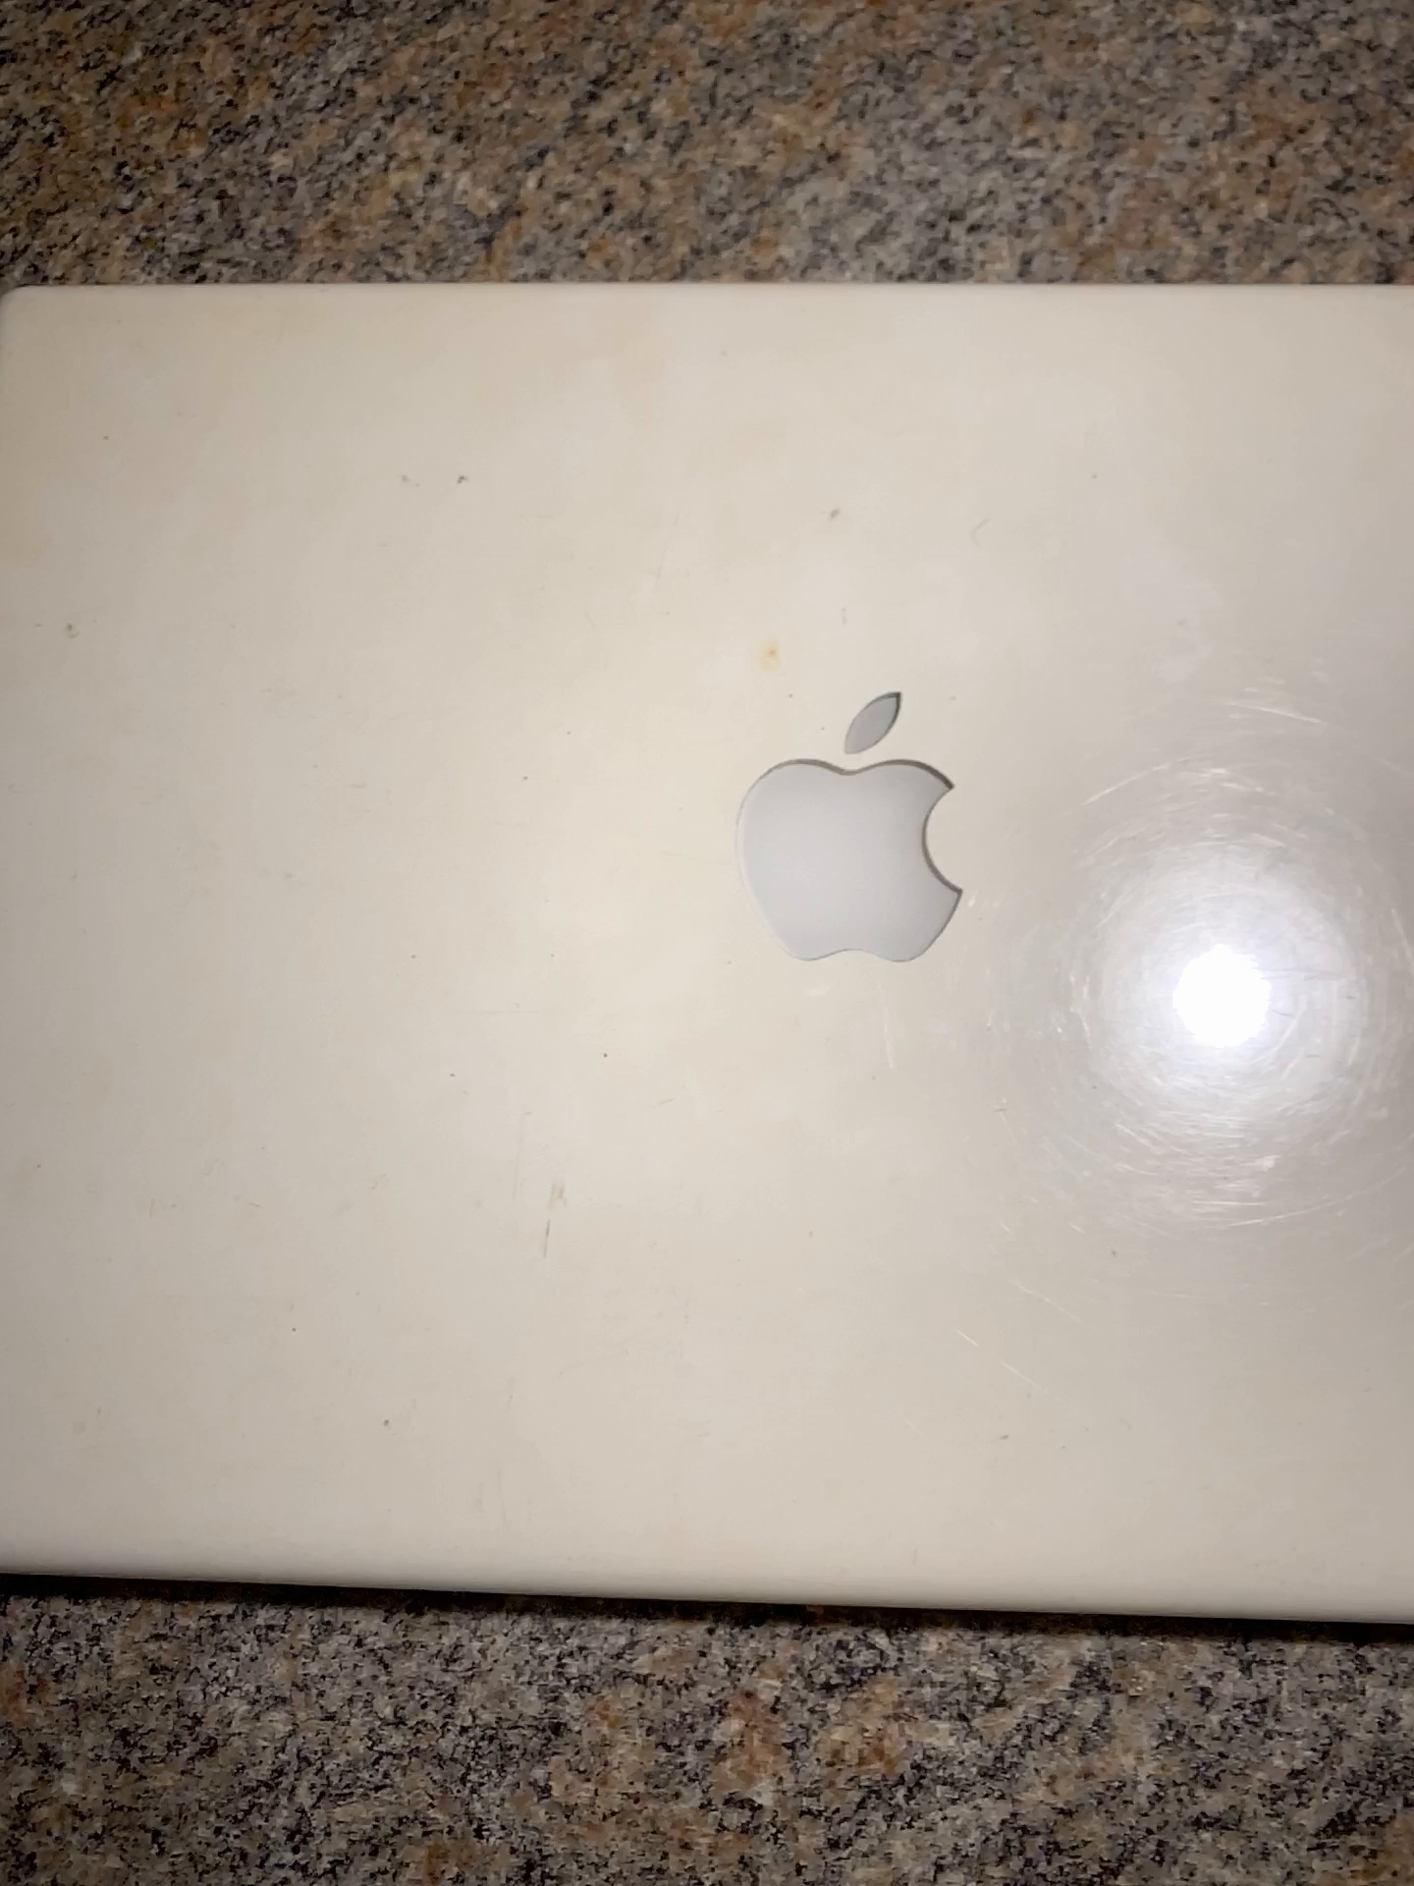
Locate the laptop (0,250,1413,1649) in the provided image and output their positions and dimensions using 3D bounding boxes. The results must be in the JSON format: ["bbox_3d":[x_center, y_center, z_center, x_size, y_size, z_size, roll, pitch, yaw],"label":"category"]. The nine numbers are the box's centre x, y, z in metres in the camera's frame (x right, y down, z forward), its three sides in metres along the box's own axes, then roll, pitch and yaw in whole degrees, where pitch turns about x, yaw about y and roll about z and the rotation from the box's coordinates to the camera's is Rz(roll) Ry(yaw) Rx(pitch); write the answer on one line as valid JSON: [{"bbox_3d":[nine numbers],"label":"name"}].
[{"bbox_3d":[0.019,-0.013,0.225,0.305,0.002,0.205,0,75,6],"label":"laptop"}]
